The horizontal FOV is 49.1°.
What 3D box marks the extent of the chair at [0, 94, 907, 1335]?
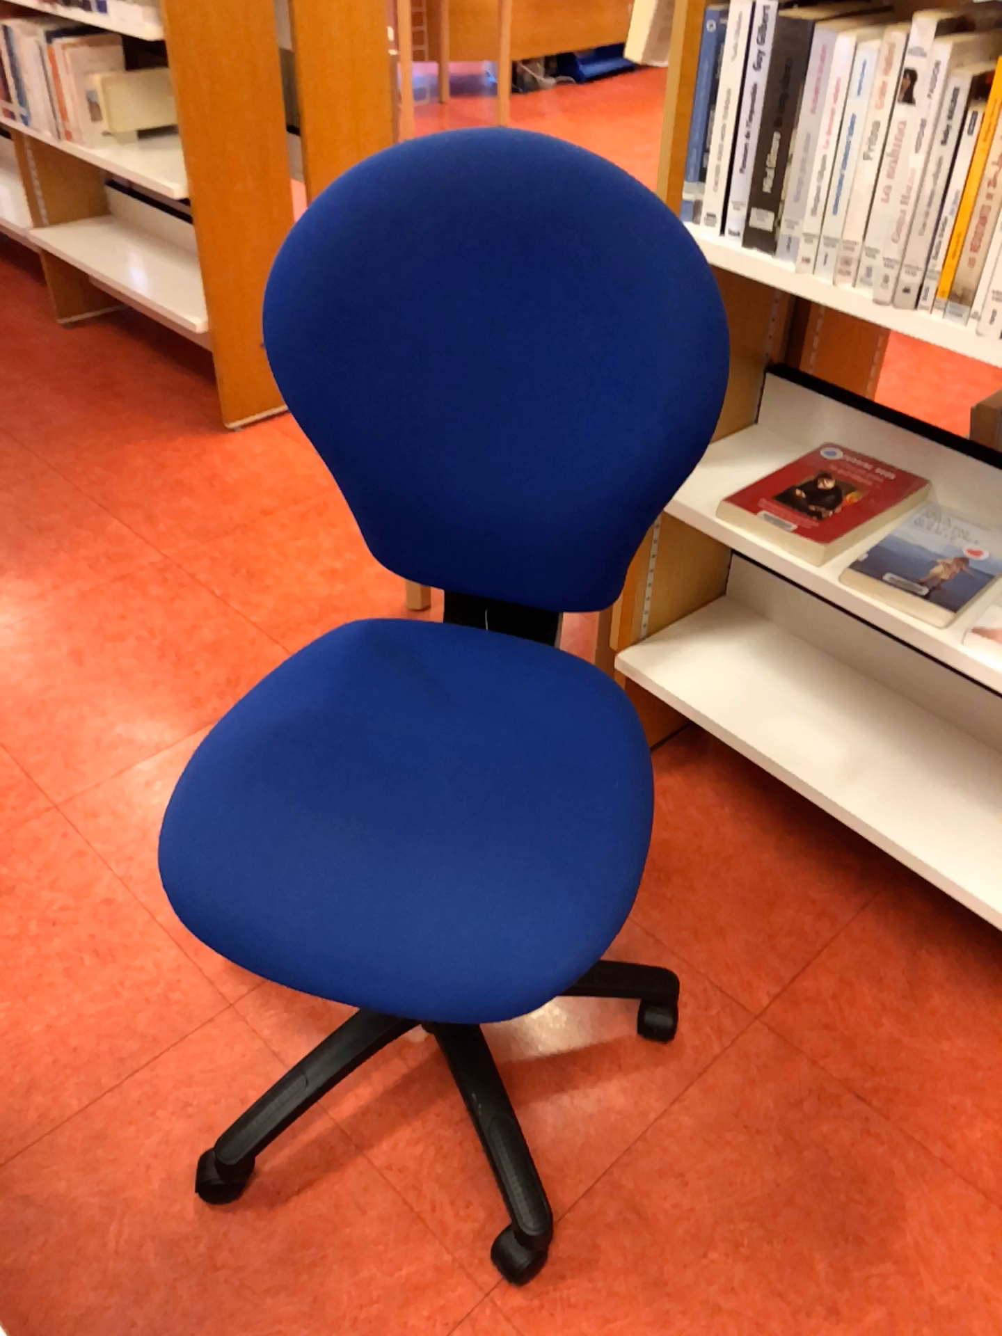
[{"bbox_3d":[-0.106,0.054,1.048,0.660,0.915,0.624,16,41,18],"label":"chair"}]
